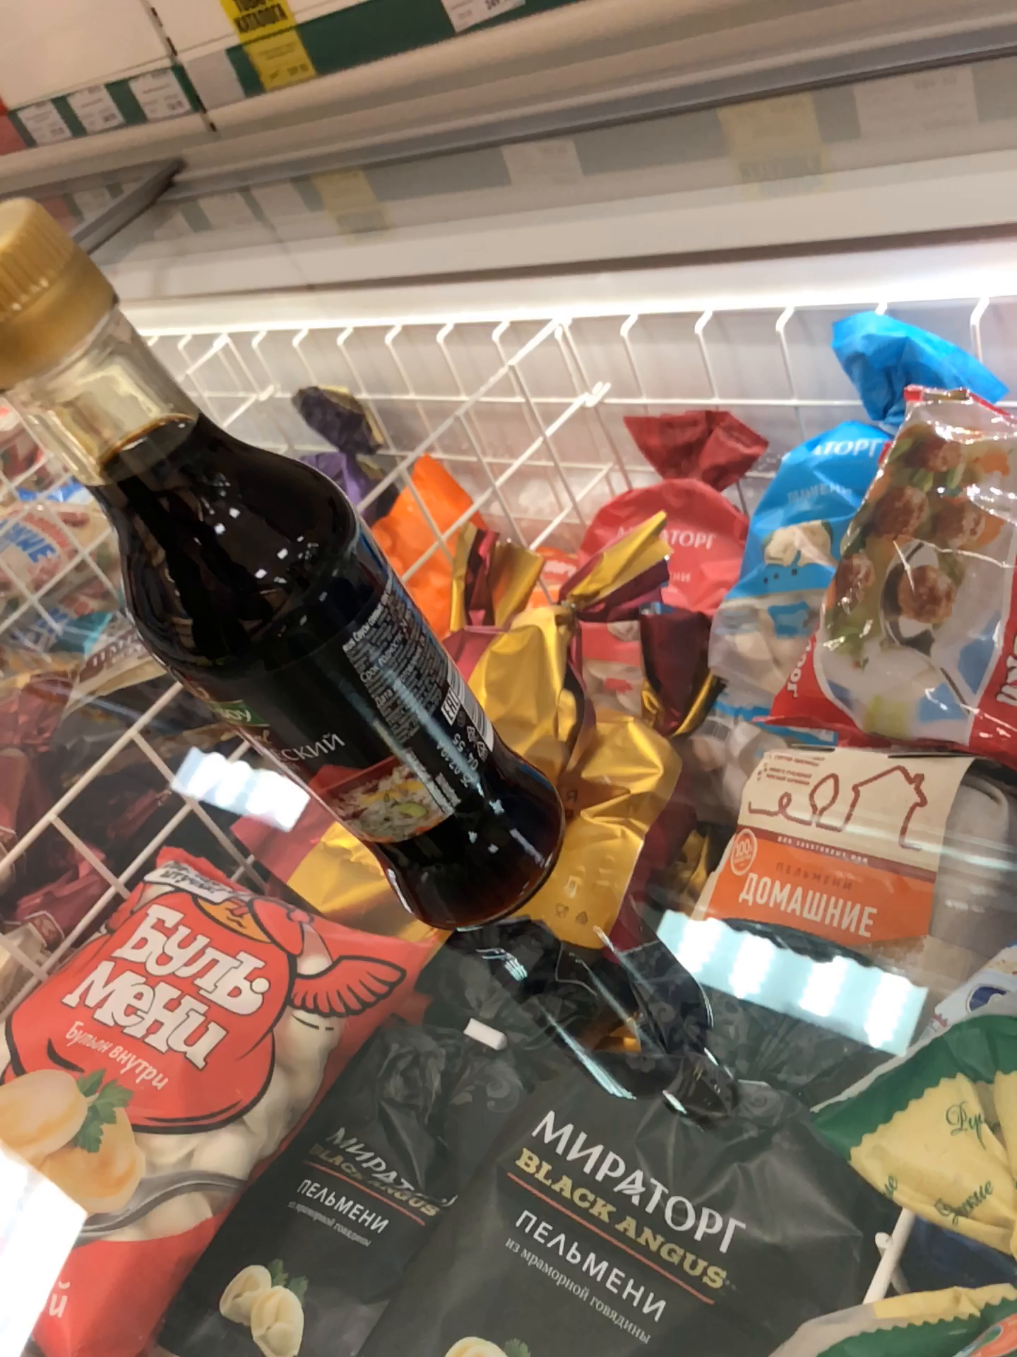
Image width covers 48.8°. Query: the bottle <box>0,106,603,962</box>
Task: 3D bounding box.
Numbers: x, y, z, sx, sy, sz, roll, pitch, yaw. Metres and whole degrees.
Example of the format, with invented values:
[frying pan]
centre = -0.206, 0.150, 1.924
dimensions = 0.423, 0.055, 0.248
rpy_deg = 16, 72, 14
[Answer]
[bottle]
centre = -0.052, -0.014, 0.291
dimensions = 0.061, 0.230, 0.062
rpy_deg = -17, 44, 17
